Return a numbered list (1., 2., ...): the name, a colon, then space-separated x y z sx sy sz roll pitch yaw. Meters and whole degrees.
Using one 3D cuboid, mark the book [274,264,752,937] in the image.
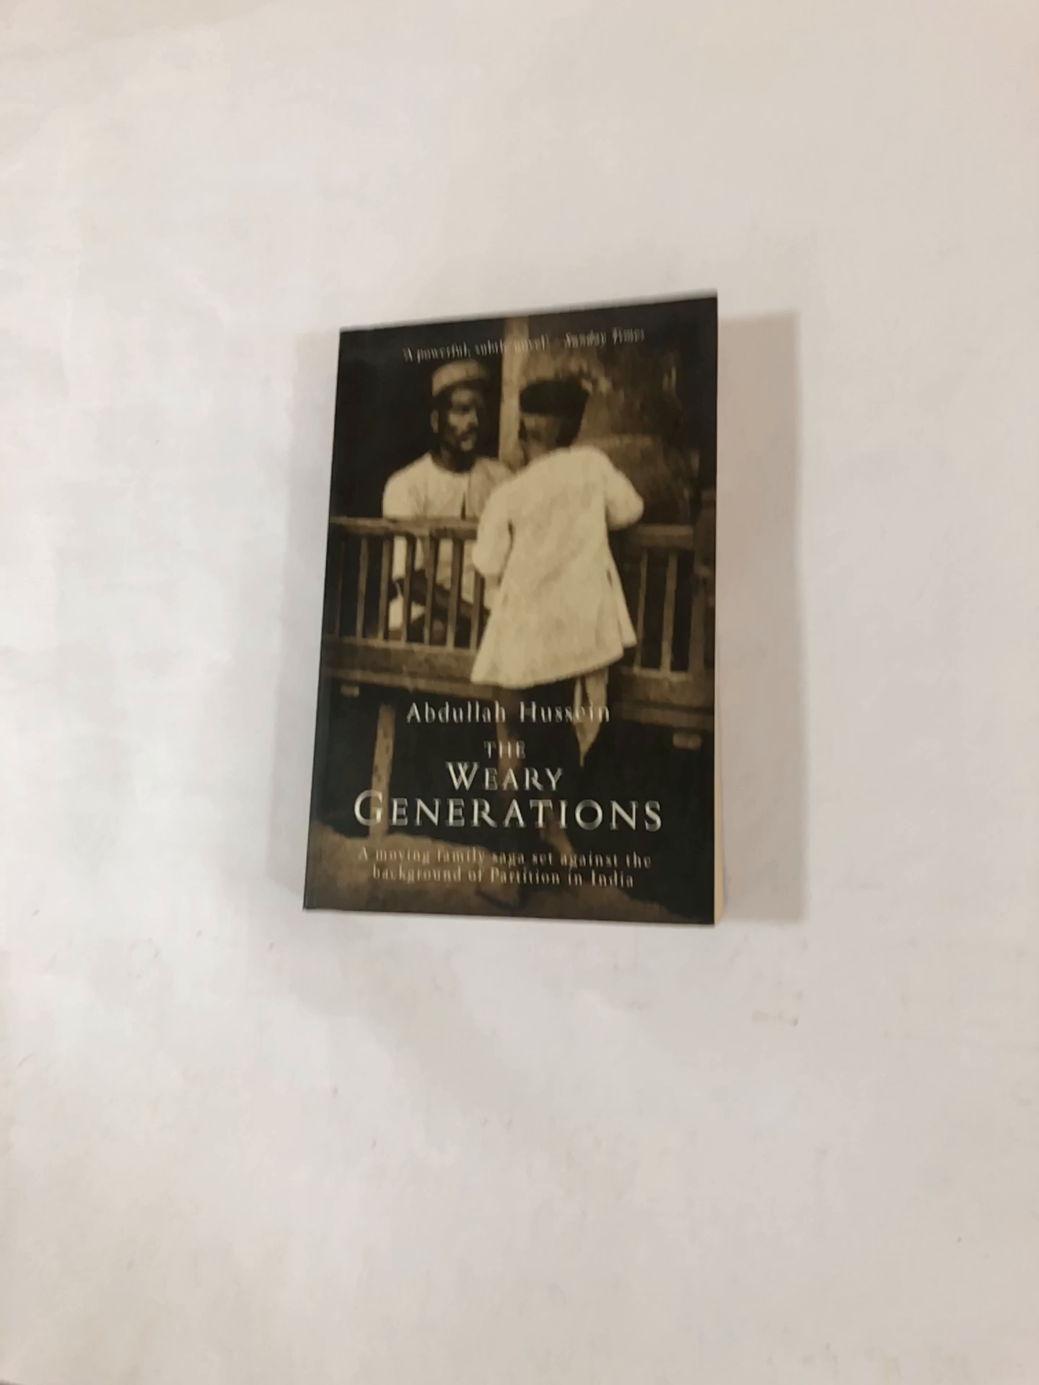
1. book: 0.001 -0.028 0.364 0.140 0.030 0.200 -1 78 16
